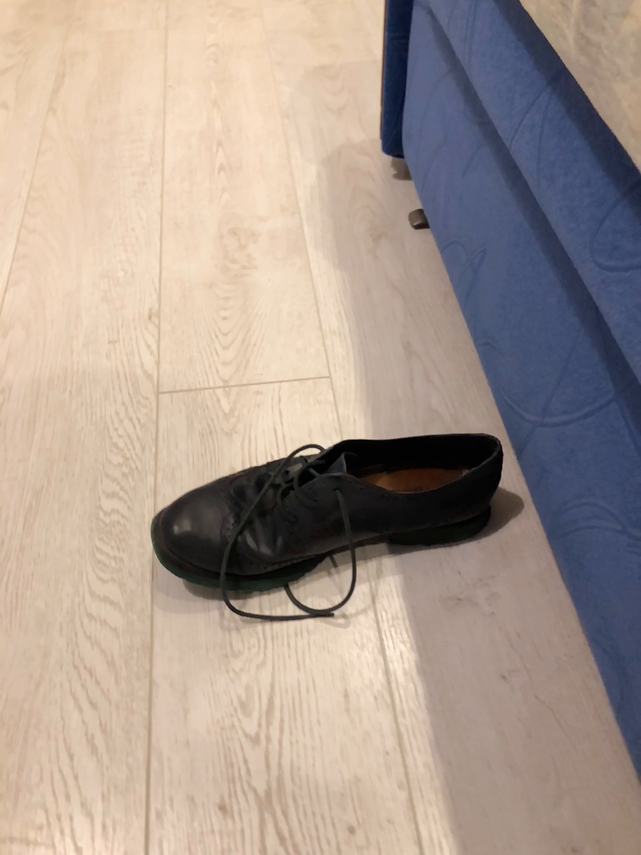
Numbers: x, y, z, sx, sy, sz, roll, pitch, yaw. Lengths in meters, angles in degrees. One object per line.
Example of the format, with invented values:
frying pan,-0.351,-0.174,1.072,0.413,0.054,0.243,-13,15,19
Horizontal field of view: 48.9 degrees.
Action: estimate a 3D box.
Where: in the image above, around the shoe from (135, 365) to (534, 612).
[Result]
shoe,0.007,0.041,0.504,0.250,0.089,0.096,-11,51,-8
